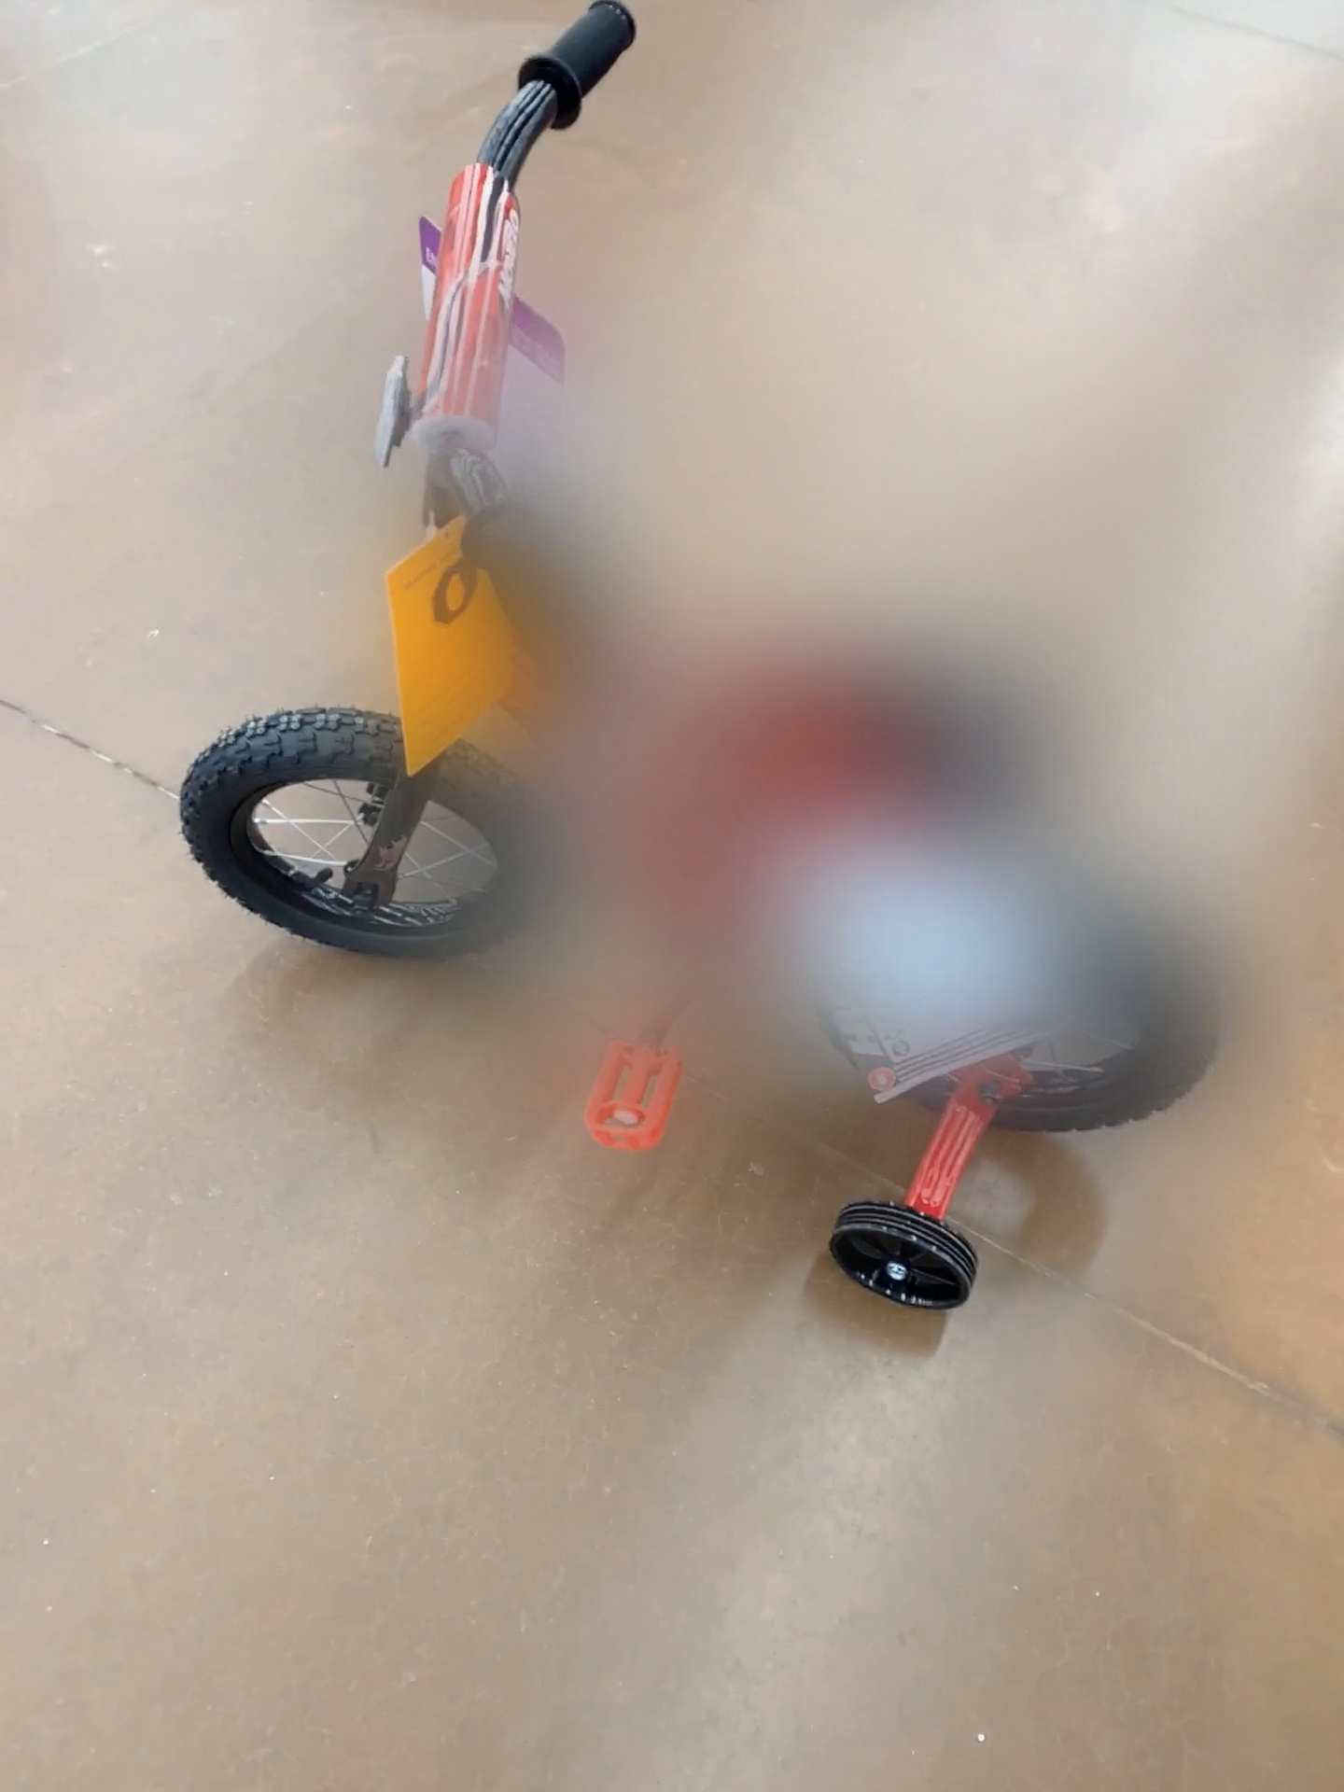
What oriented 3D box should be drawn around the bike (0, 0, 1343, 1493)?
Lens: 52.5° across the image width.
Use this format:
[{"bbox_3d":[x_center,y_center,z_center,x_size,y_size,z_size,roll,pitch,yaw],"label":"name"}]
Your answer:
[{"bbox_3d":[0.022,-0.073,0.750,0.703,0.626,0.459,14,53,1],"label":"bike"}]
